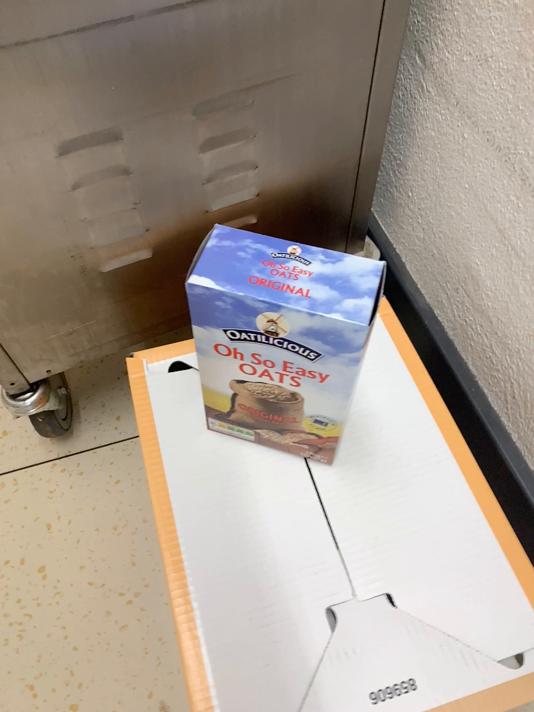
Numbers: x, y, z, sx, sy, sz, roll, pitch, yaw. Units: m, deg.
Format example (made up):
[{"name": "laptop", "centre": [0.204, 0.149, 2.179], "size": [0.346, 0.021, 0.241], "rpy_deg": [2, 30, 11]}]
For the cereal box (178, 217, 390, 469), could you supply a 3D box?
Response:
[{"name": "cereal box", "centre": [0.012, 0.003, 0.454], "size": [0.130, 0.218, 0.060], "rpy_deg": [14, 55, 10]}]
